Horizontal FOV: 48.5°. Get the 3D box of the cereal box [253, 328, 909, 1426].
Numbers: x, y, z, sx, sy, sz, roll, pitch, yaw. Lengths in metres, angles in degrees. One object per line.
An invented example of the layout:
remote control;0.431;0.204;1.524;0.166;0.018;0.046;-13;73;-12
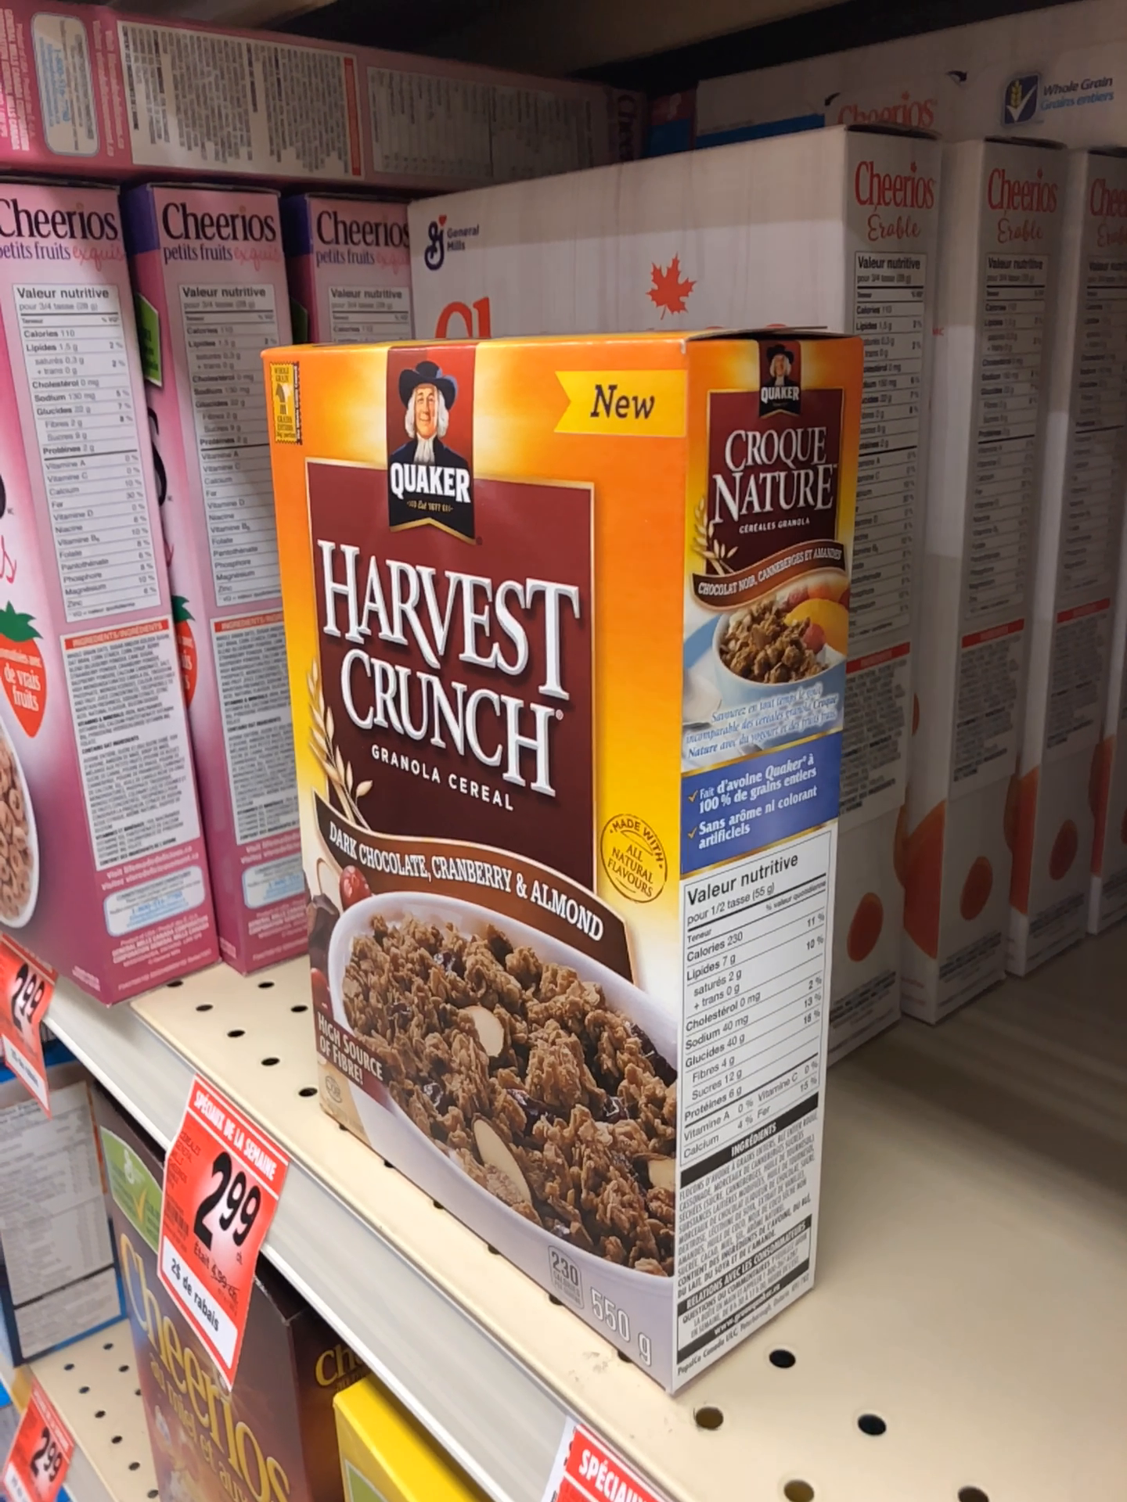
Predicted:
cereal box;-0.004;0.016;0.334;0.060;0.239;0.171;-15;21;-39
